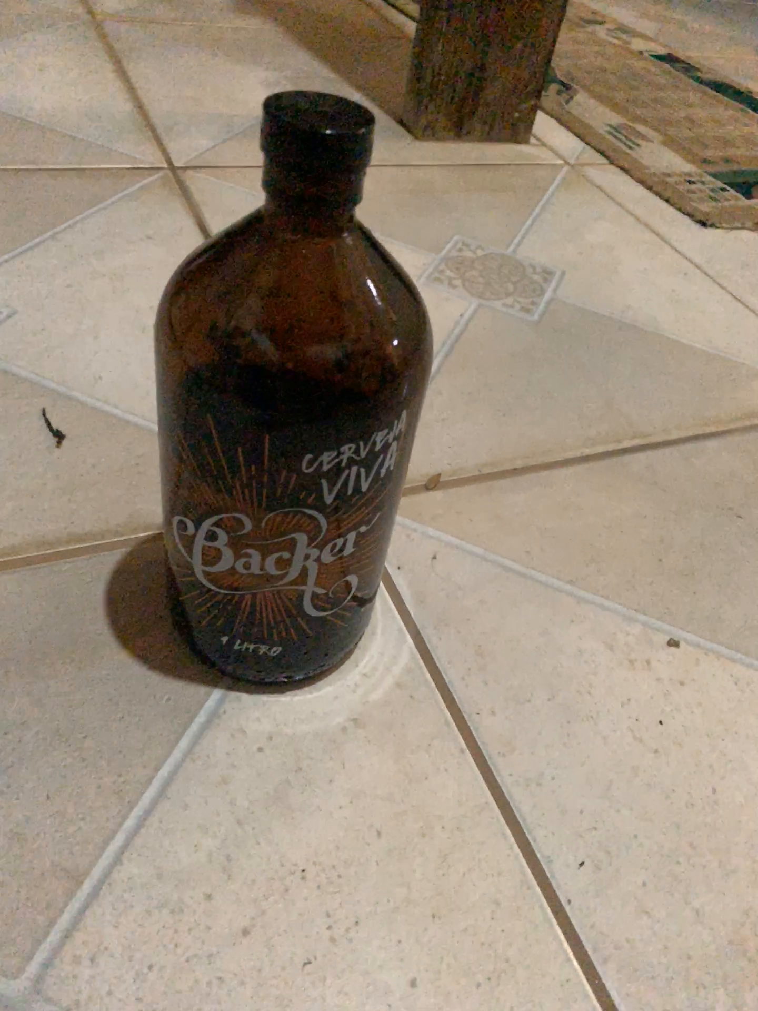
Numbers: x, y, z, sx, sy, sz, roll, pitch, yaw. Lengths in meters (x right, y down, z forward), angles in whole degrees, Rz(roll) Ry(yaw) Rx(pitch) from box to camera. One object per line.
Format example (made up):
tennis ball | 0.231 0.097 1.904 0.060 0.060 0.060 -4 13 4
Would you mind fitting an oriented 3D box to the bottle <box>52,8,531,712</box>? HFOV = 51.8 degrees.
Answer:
bottle | -0.027 -0.032 0.271 0.100 0.209 0.090 13 45 2
